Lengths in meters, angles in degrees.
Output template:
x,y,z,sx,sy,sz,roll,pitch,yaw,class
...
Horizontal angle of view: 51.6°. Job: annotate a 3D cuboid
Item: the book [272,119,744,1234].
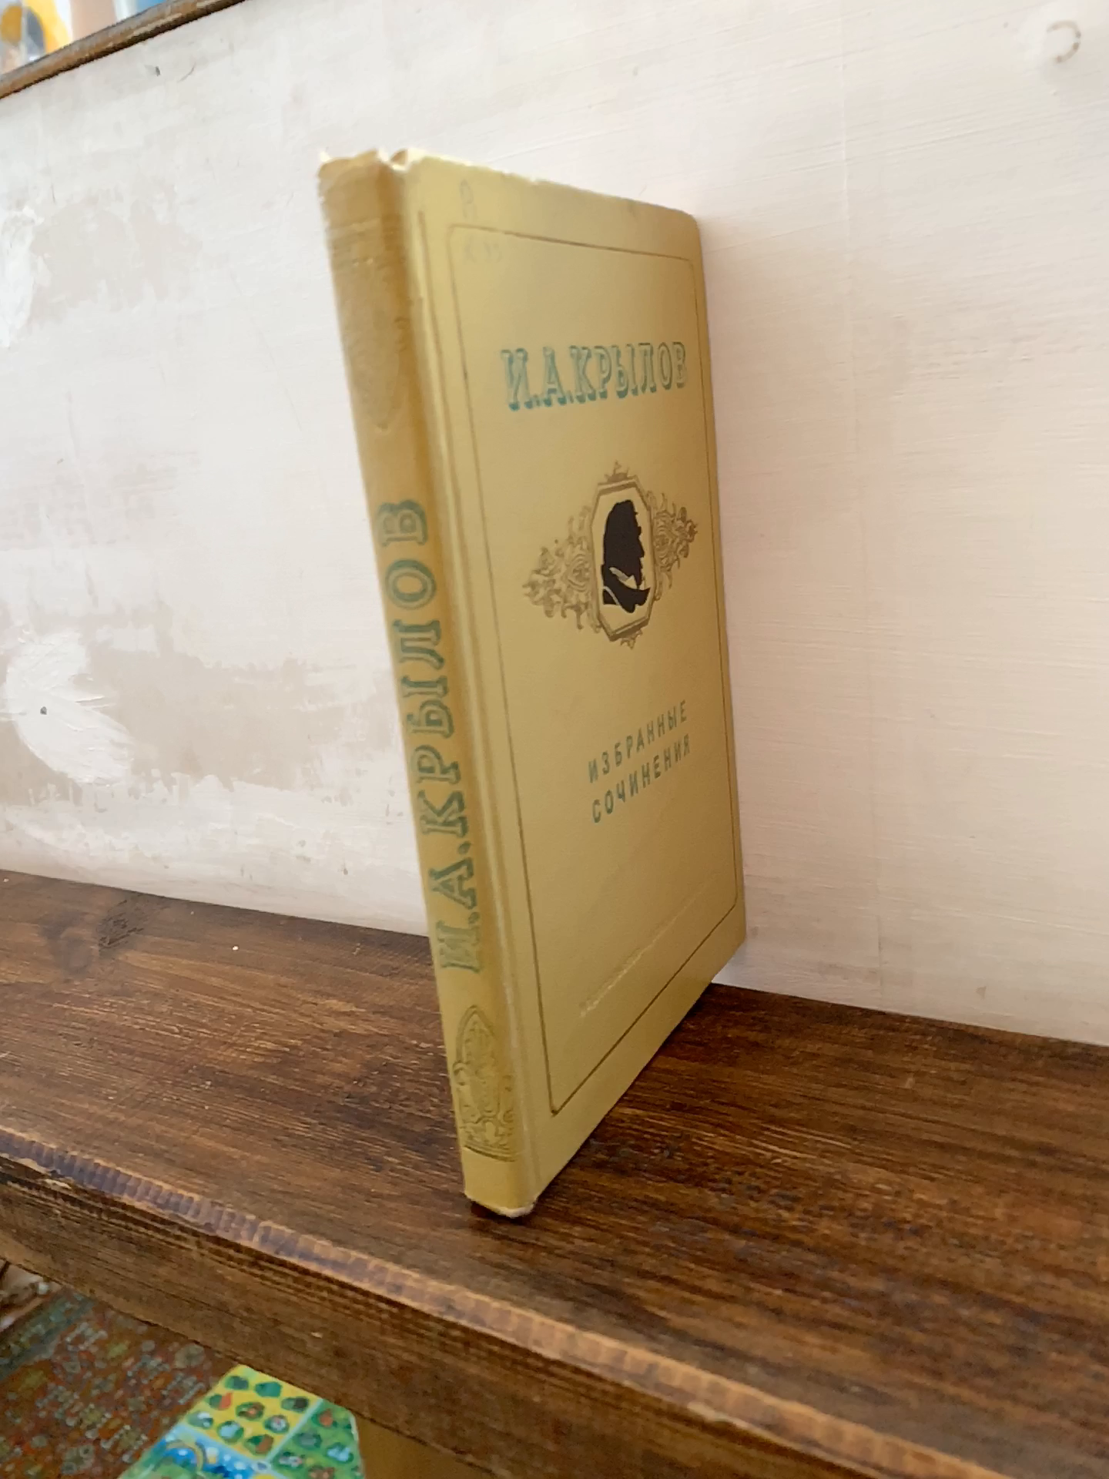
x,y,z,sx,sy,sz,roll,pitch,yaw,class
0.005,-0.018,0.266,0.020,0.205,0.132,2,17,30,book
